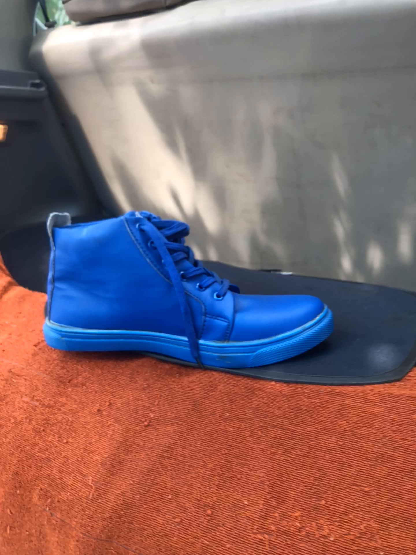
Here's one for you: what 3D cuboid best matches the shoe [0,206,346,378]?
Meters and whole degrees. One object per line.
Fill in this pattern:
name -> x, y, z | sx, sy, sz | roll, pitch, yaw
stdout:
shoe -> -0.025, 0.002, 0.467 | 0.300, 0.120, 0.131 | 2, 20, 12
